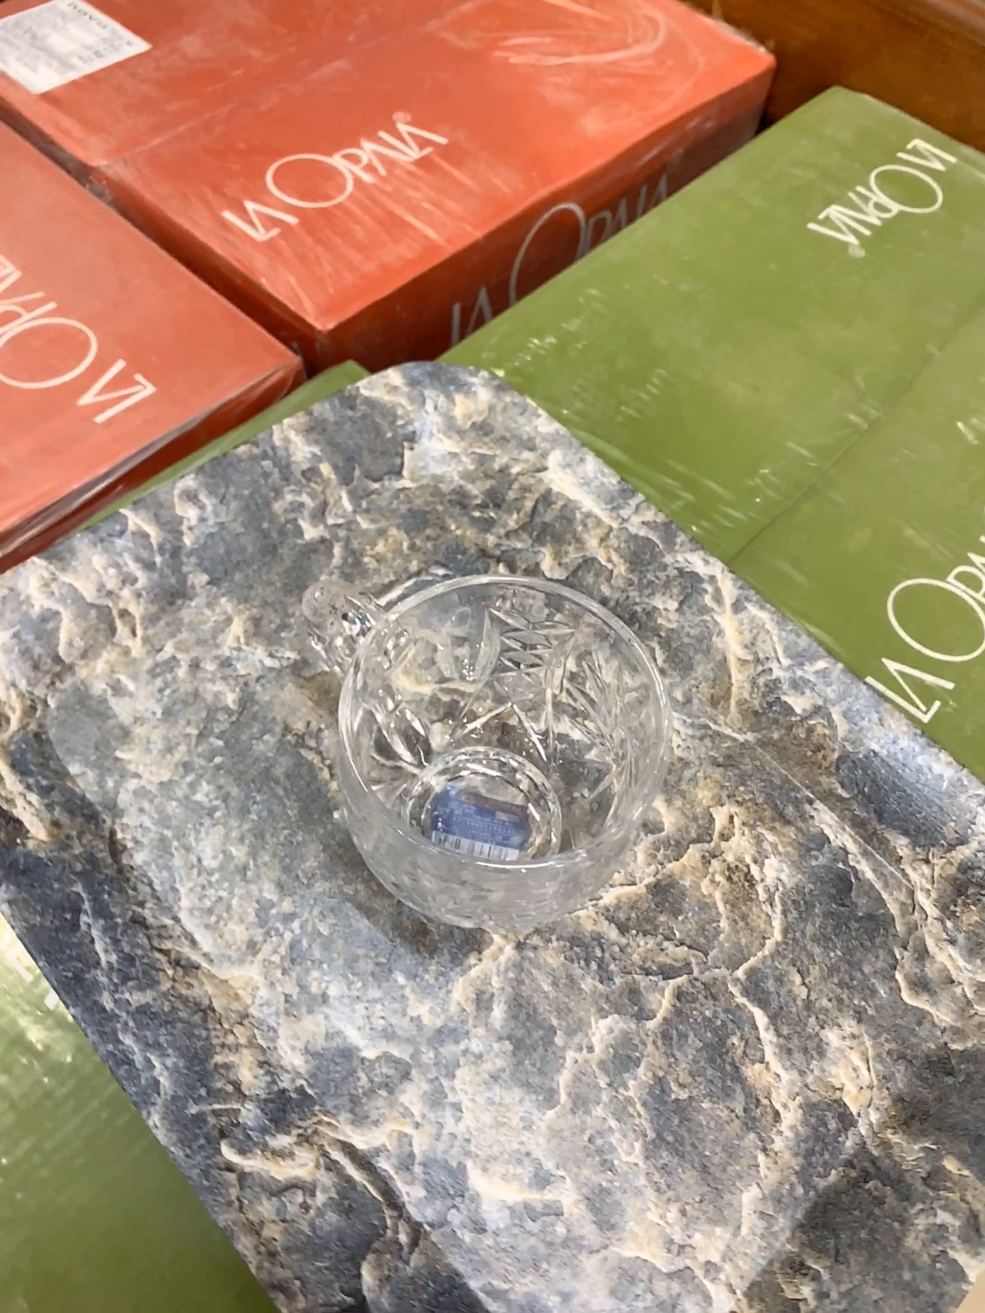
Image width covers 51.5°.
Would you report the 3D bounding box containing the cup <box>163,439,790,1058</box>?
[{"bbox_3d":[-0.005,0.021,0.237,0.100,0.070,0.080,34,60,15],"label":"cup"}]
